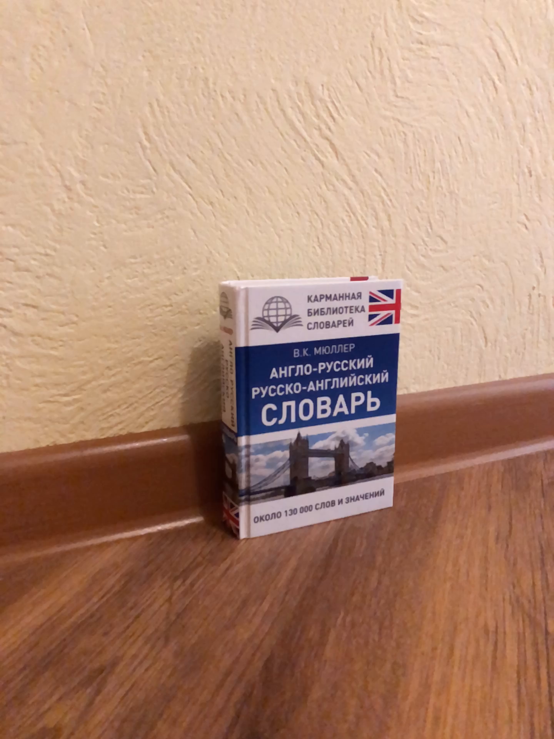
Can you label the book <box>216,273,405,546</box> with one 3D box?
[{"bbox_3d":[0.019,0.020,0.363,0.102,0.146,0.037,-6,16,-24],"label":"book"}]
